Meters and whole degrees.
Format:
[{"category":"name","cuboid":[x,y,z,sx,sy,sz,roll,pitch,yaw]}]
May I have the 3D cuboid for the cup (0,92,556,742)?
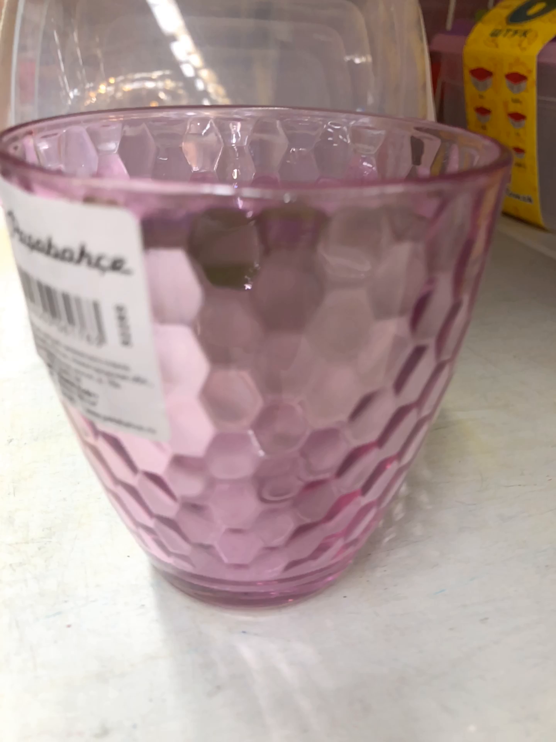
[{"category":"cup","cuboid":[-0.006,-0.006,0.117,0.078,0.074,0.090,-18,34,-30]}]
